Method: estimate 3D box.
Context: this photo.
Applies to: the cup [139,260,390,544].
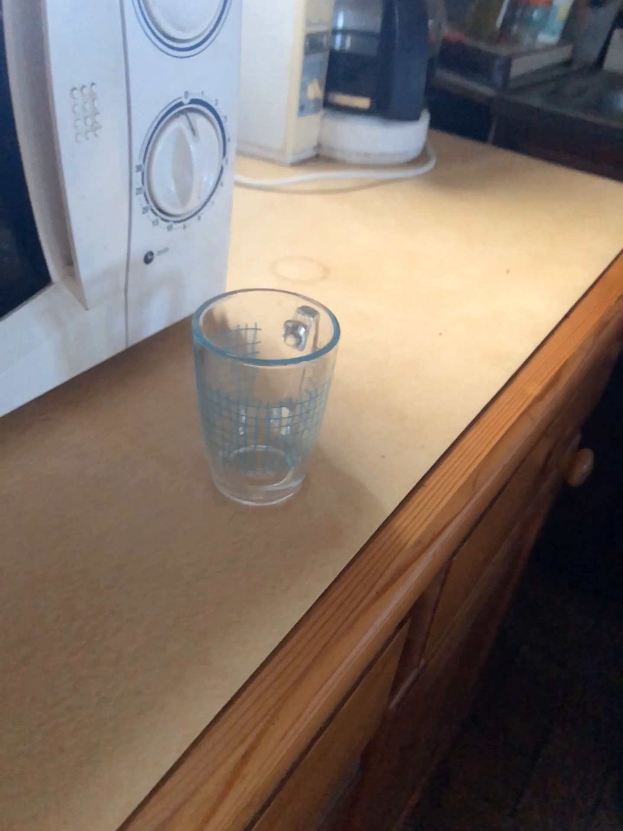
[{"bbox_3d":[-0.018,-0.009,0.284,0.060,0.070,0.081,25,40,22],"label":"cup"}]
